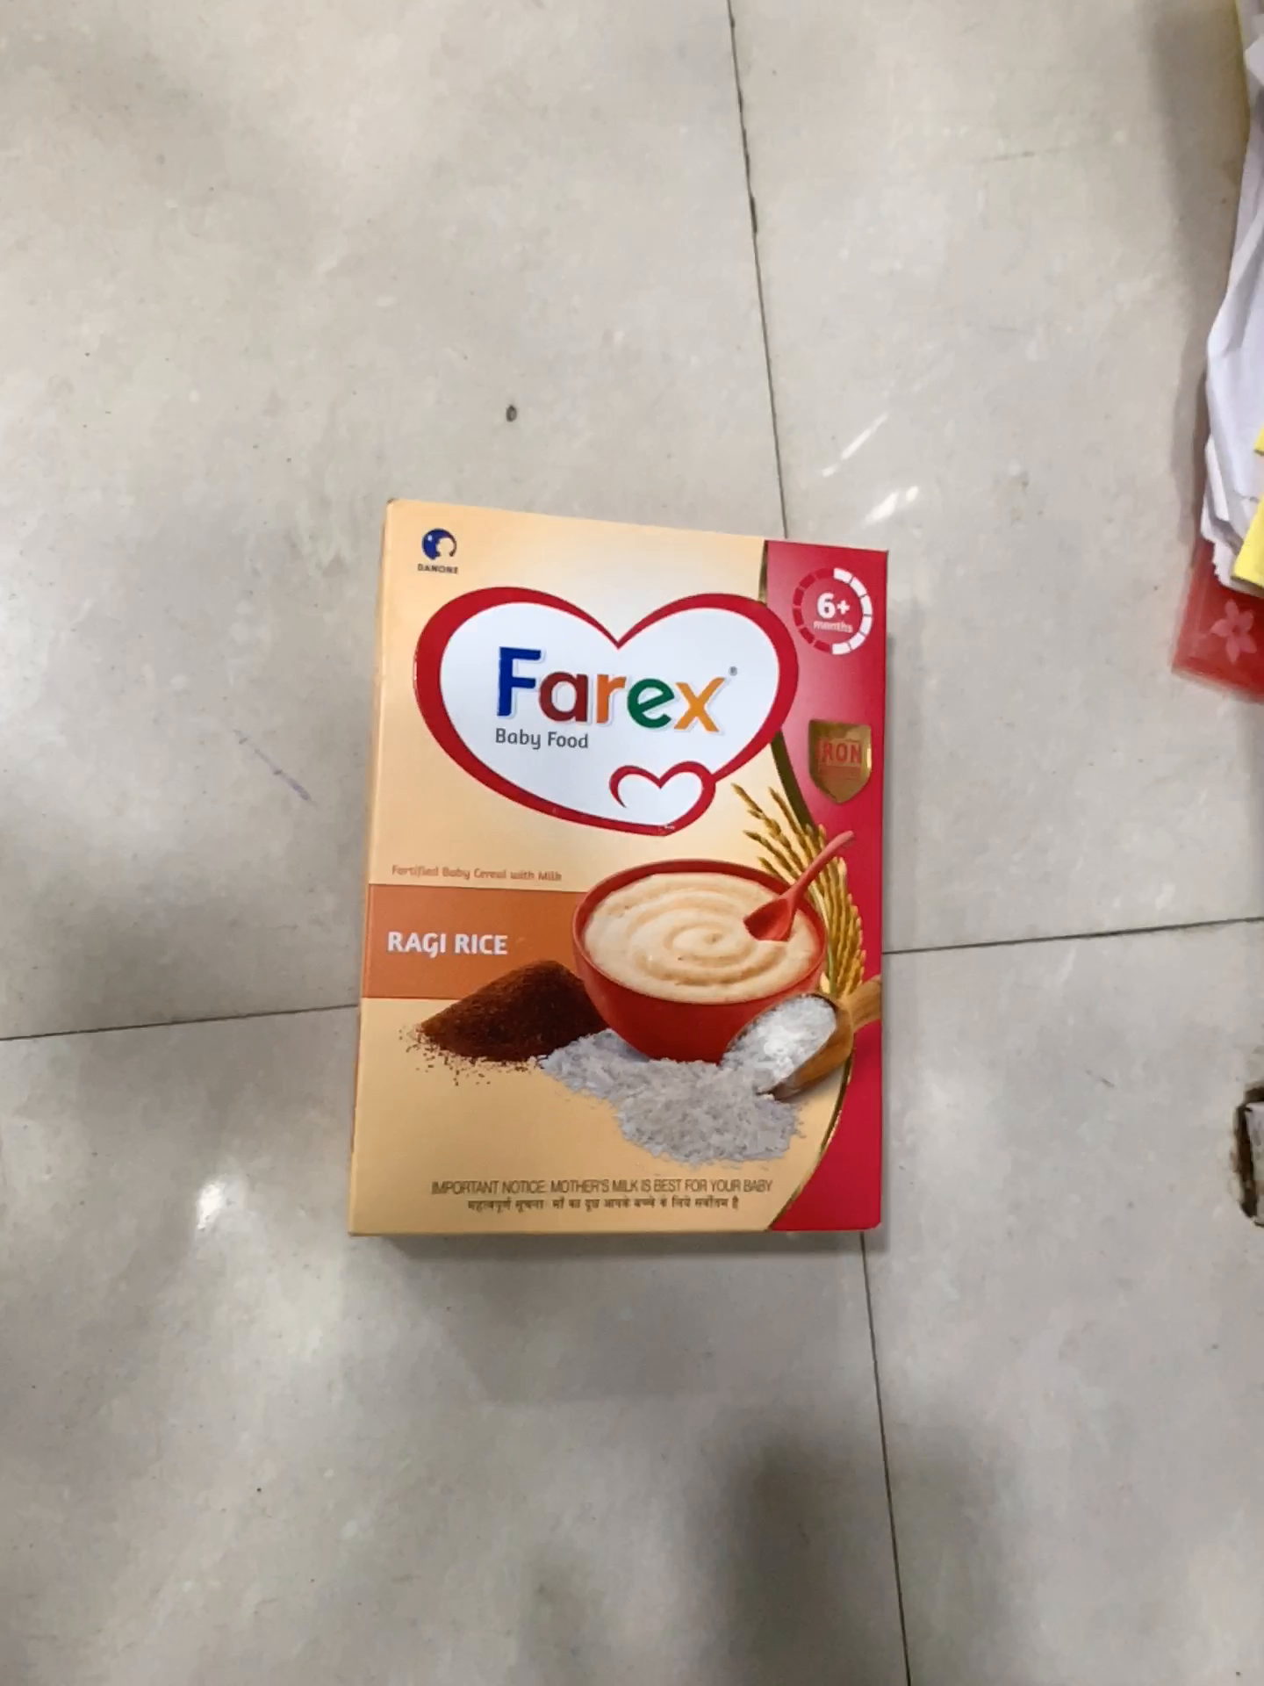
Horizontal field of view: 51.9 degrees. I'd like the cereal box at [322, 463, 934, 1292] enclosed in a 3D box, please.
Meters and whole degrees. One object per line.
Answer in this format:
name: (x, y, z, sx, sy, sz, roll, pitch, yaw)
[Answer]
cereal box: (0.001, 0.013, 0.358, 0.150, 0.050, 0.200, 5, 84, -17)
